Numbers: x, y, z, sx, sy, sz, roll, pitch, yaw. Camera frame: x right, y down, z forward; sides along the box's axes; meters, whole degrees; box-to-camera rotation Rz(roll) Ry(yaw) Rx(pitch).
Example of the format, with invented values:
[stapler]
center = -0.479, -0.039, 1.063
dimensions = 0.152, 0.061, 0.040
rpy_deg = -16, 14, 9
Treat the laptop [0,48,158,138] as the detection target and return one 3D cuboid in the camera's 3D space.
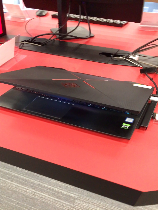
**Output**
[laptop]
center = -0.007, -0.057, 0.562
dimensions = 0.363, 0.091, 0.228
rpy_deg = 14, 40, 20
